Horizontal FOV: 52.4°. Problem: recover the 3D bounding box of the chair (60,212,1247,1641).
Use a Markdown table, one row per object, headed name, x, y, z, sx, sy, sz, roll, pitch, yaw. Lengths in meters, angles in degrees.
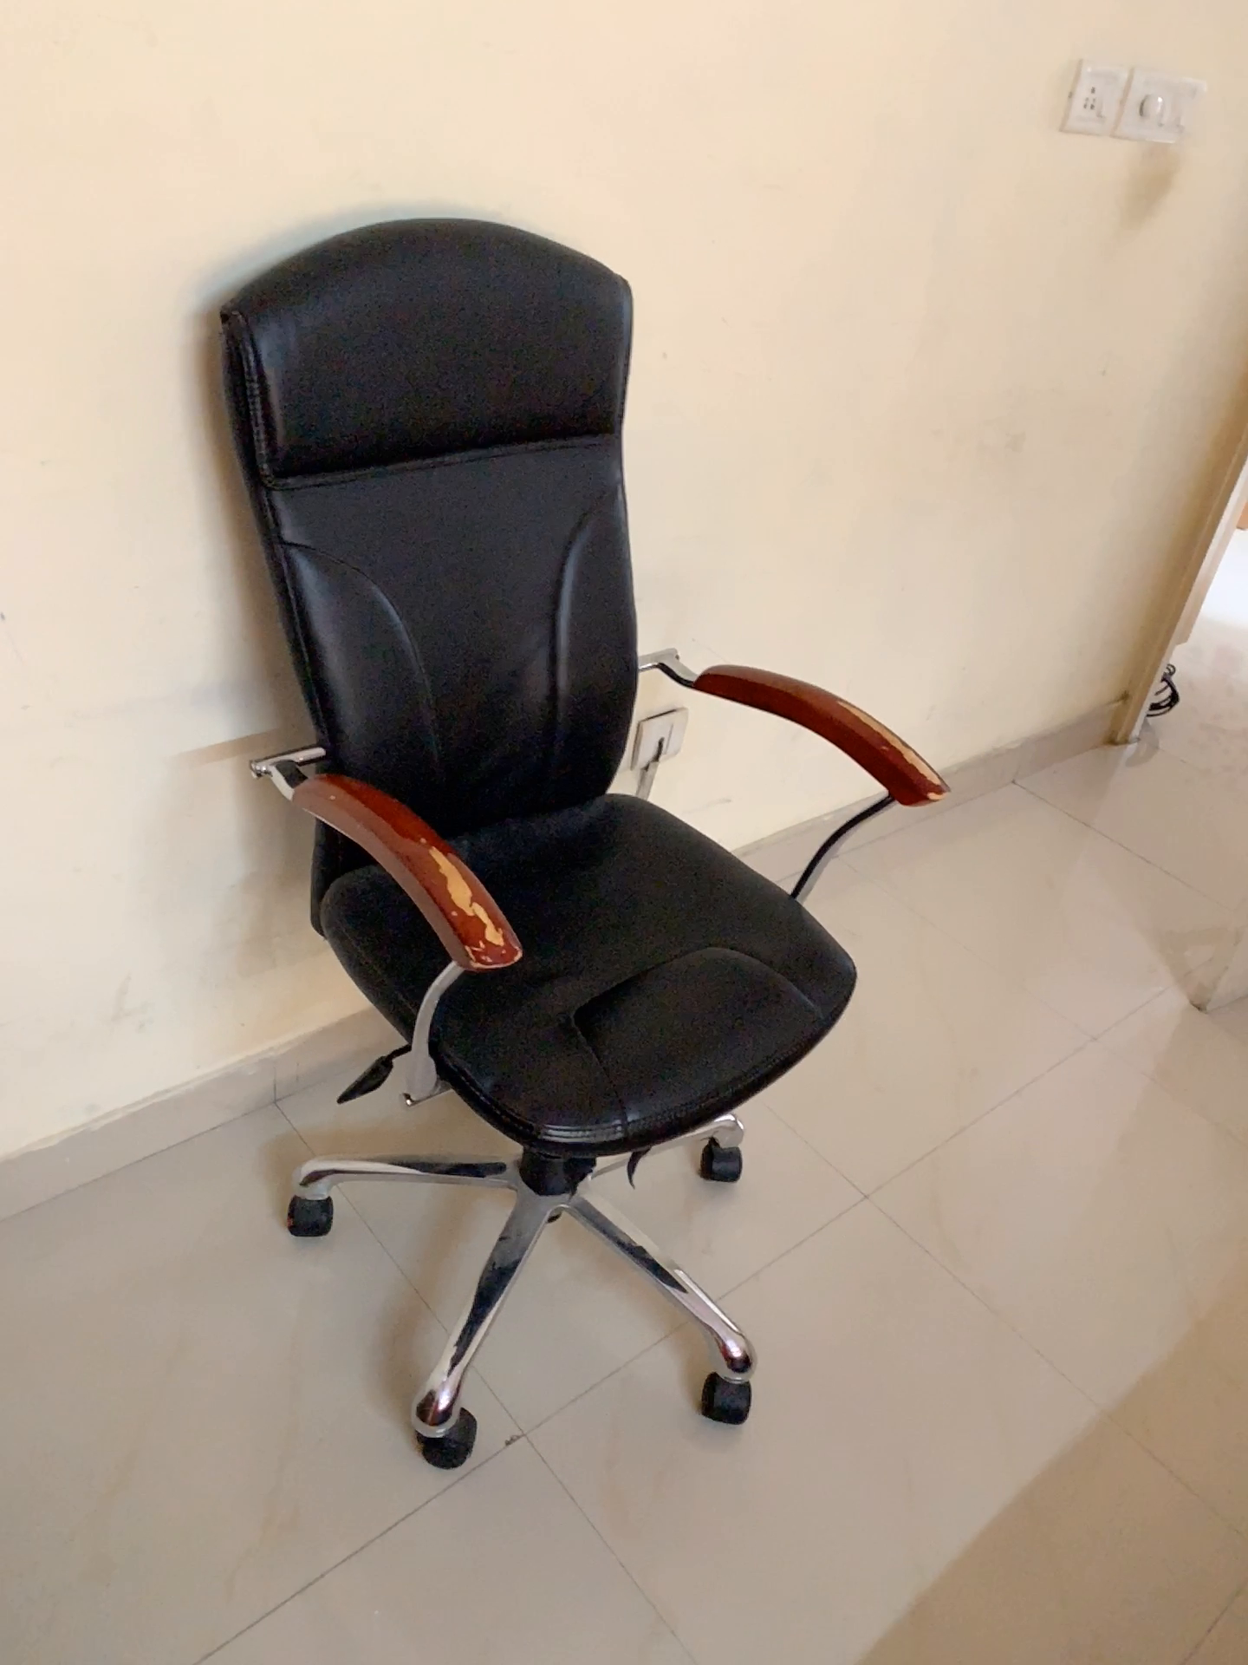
| name | x | y | z | sx | sy | sz | roll | pitch | yaw |
| --- | --- | --- | --- | --- | --- | --- | --- | --- | --- |
| chair | -0.043 | 0.029 | 1.332 | 0.703 | 1.080 | 0.754 | -19 | 43 | -36 |
